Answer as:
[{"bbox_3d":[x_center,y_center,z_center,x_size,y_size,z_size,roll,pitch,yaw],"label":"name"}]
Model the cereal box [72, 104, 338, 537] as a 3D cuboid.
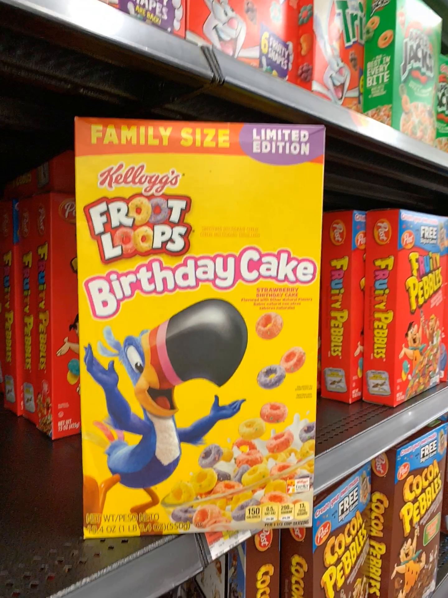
[{"bbox_3d":[-0.020,0.020,0.401,0.200,0.330,0.080,1,5,-7],"label":"cereal box"}]
